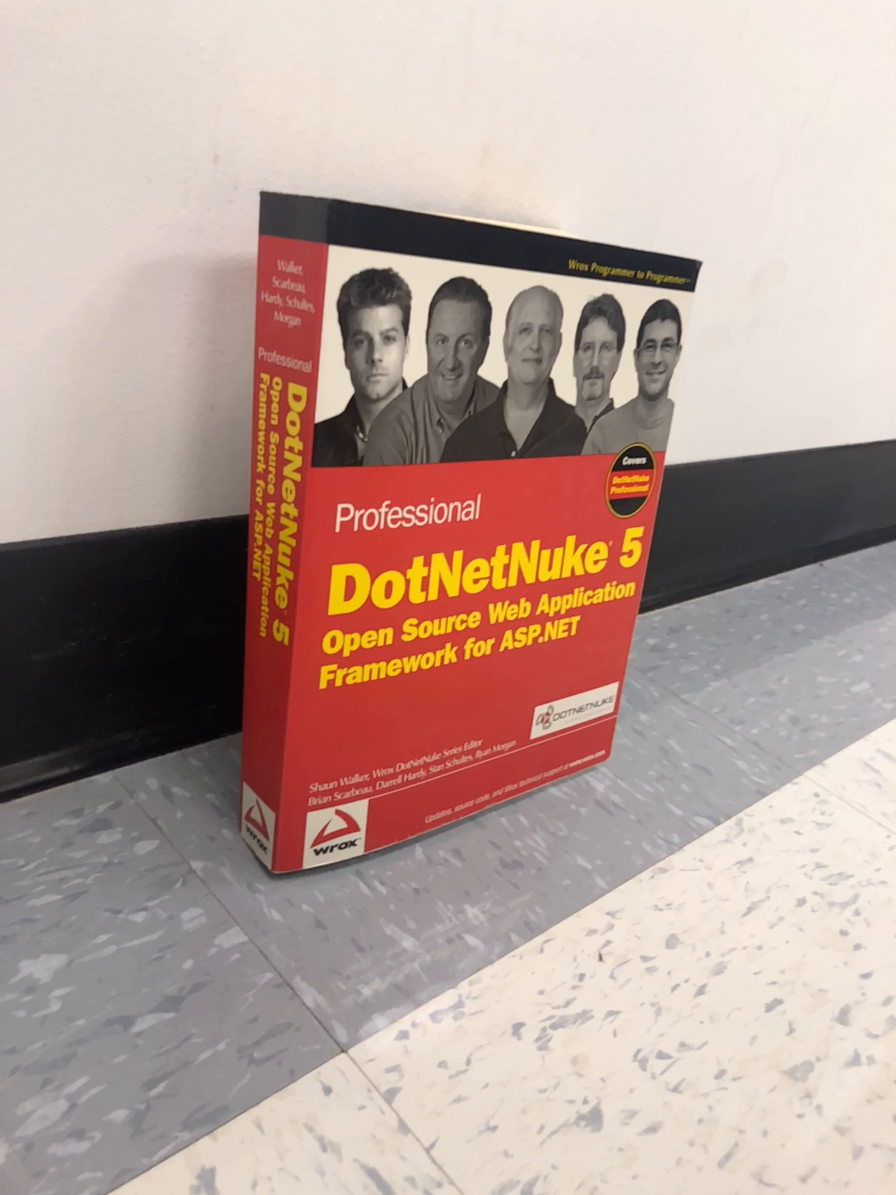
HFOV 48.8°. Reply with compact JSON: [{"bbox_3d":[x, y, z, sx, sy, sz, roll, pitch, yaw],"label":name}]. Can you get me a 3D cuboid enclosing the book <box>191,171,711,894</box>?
[{"bbox_3d":[0.005,-0.030,0.421,0.211,0.249,0.060,-9,22,-40],"label":"book"}]
